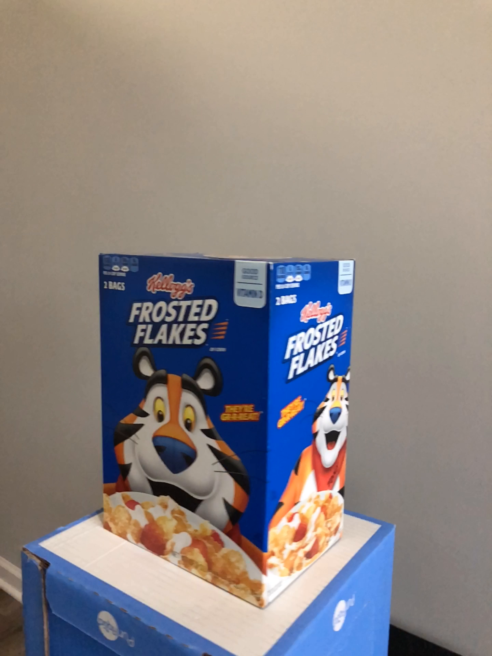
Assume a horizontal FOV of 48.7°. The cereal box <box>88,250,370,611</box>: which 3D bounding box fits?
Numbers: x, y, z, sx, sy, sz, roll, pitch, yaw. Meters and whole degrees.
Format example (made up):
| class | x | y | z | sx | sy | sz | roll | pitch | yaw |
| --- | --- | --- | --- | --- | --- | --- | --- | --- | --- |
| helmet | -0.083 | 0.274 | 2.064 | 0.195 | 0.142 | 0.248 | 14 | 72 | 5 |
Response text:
| class | x | y | z | sx | sy | sz | roll | pitch | yaw |
| --- | --- | --- | --- | --- | --- | --- | --- | --- | --- |
| cereal box | -0.025 | 0.076 | 0.617 | 0.260 | 0.319 | 0.170 | 8 | 11 | 38 |
